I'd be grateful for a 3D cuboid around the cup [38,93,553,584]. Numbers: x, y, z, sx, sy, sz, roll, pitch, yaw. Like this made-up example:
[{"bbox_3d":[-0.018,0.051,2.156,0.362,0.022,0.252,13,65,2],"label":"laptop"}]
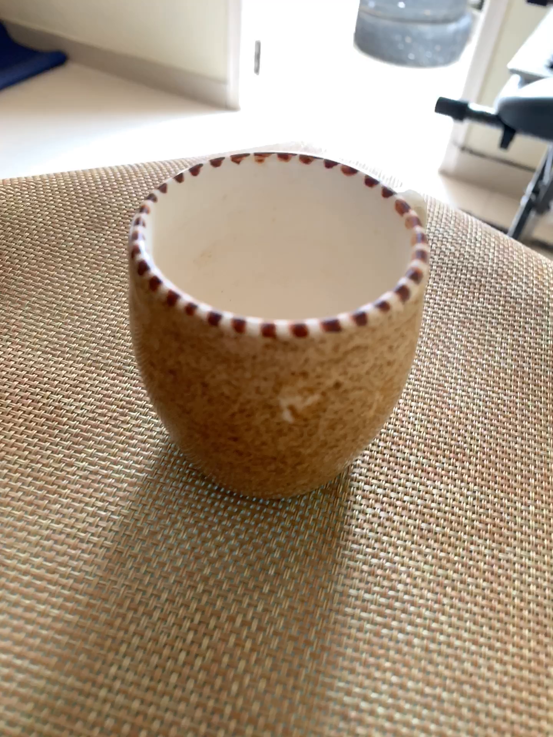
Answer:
[{"bbox_3d":[0.005,-0.013,0.150,0.090,0.069,0.070,-29,57,-28],"label":"cup"}]
